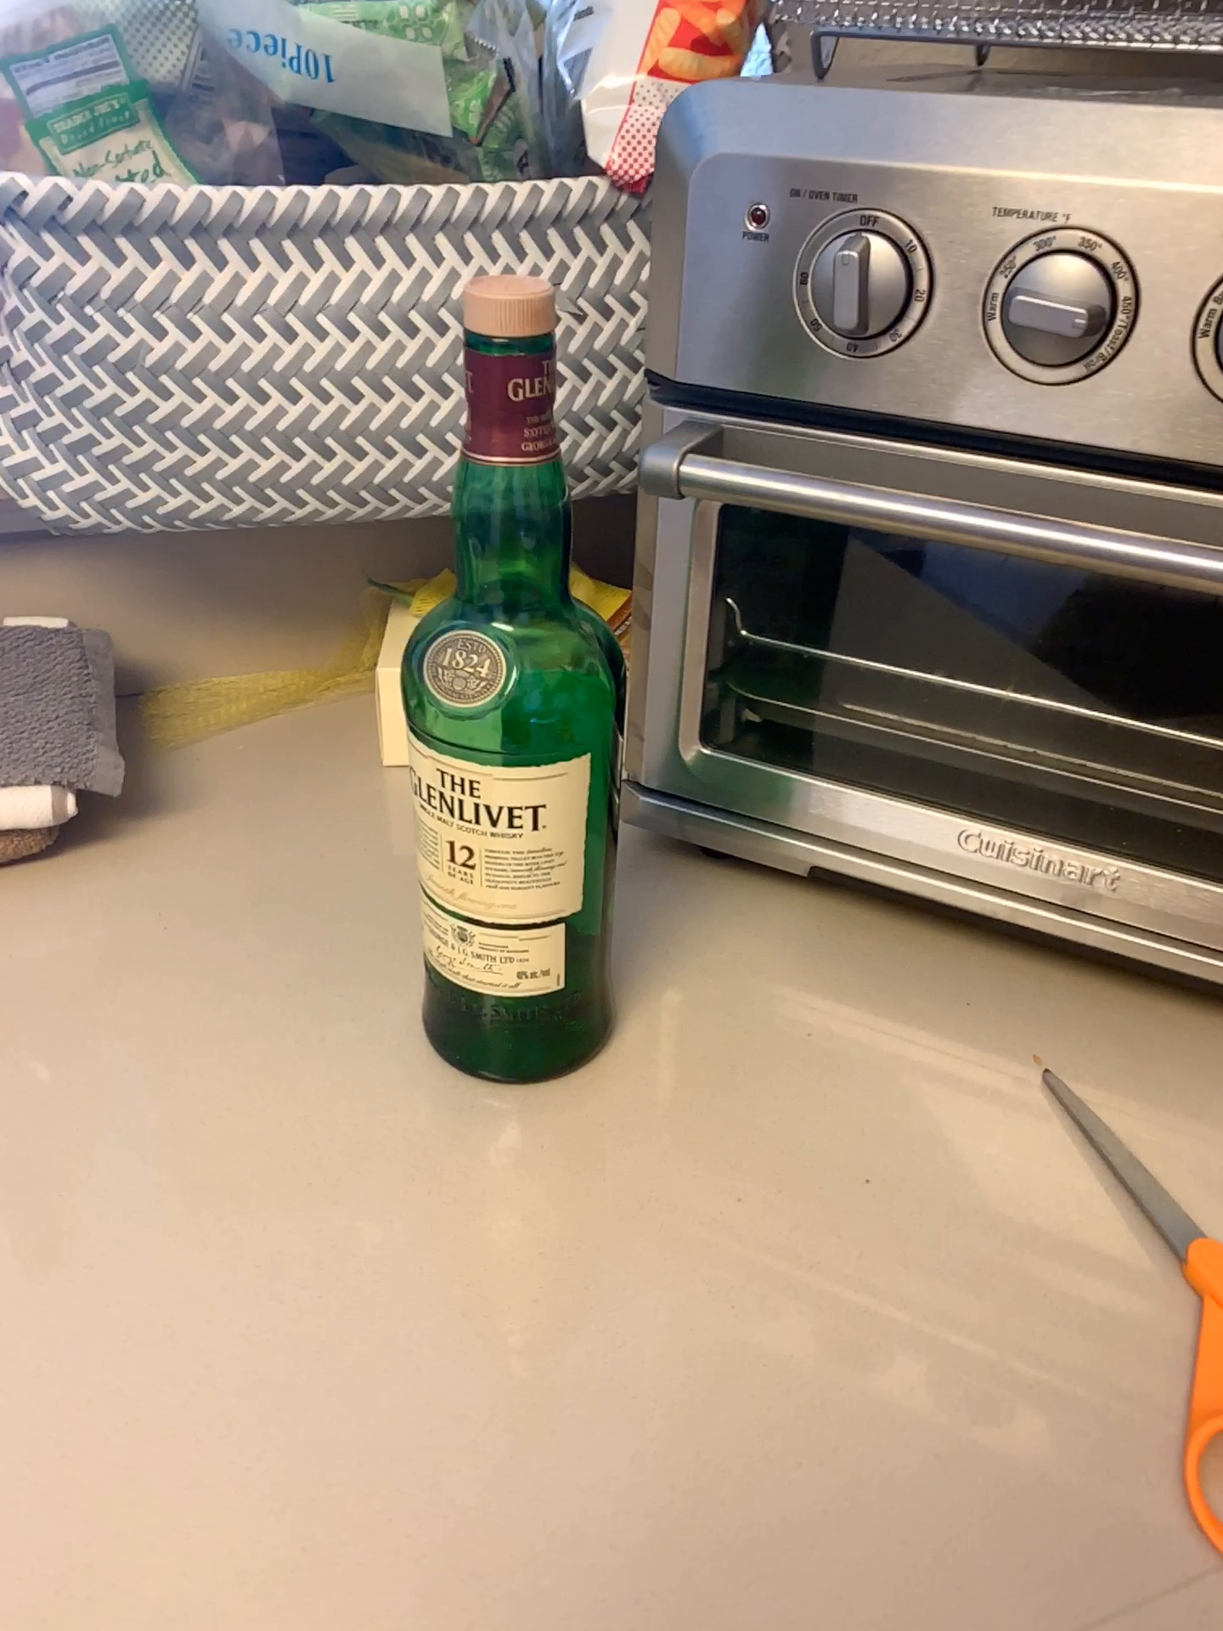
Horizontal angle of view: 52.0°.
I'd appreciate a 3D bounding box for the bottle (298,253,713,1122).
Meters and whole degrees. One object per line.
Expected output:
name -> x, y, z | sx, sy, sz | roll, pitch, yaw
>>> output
bottle -> -0.031, -0.037, 0.441 | 0.090, 0.278, 0.090 | 1, 32, -1
